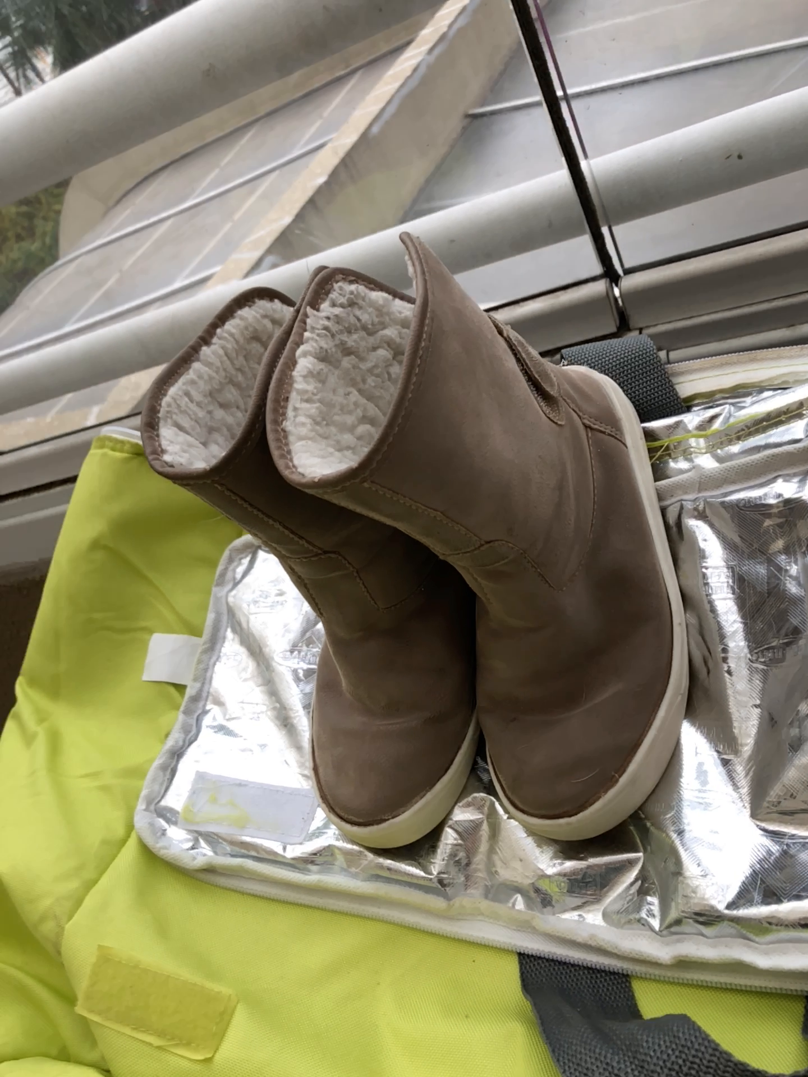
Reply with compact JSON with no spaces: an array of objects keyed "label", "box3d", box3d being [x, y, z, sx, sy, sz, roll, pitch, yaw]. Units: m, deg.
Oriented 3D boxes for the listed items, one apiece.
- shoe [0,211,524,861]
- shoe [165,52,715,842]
[{"label":"shoe","box3d":[-0.035,0.016,0.344,0.089,0.169,0.191,-9,66,33]},{"label":"shoe","box3d":[0.028,-0.009,0.302,0.089,0.169,0.201,-11,65,31]}]
